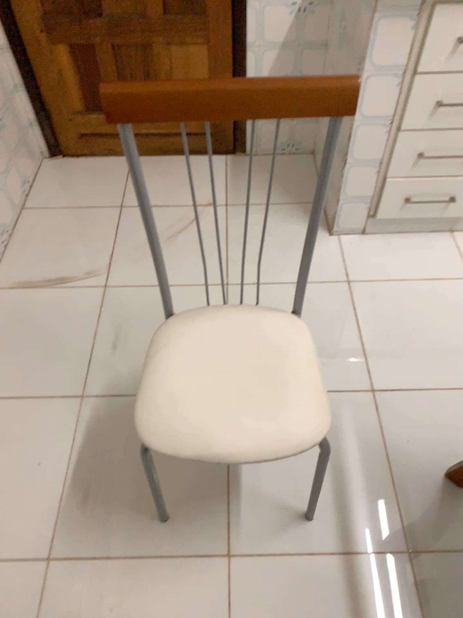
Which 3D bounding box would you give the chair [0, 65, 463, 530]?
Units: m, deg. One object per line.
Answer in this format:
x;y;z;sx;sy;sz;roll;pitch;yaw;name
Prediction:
0.005;0.072;0.979;0.480;0.886;0.512;-1;52;1;chair
